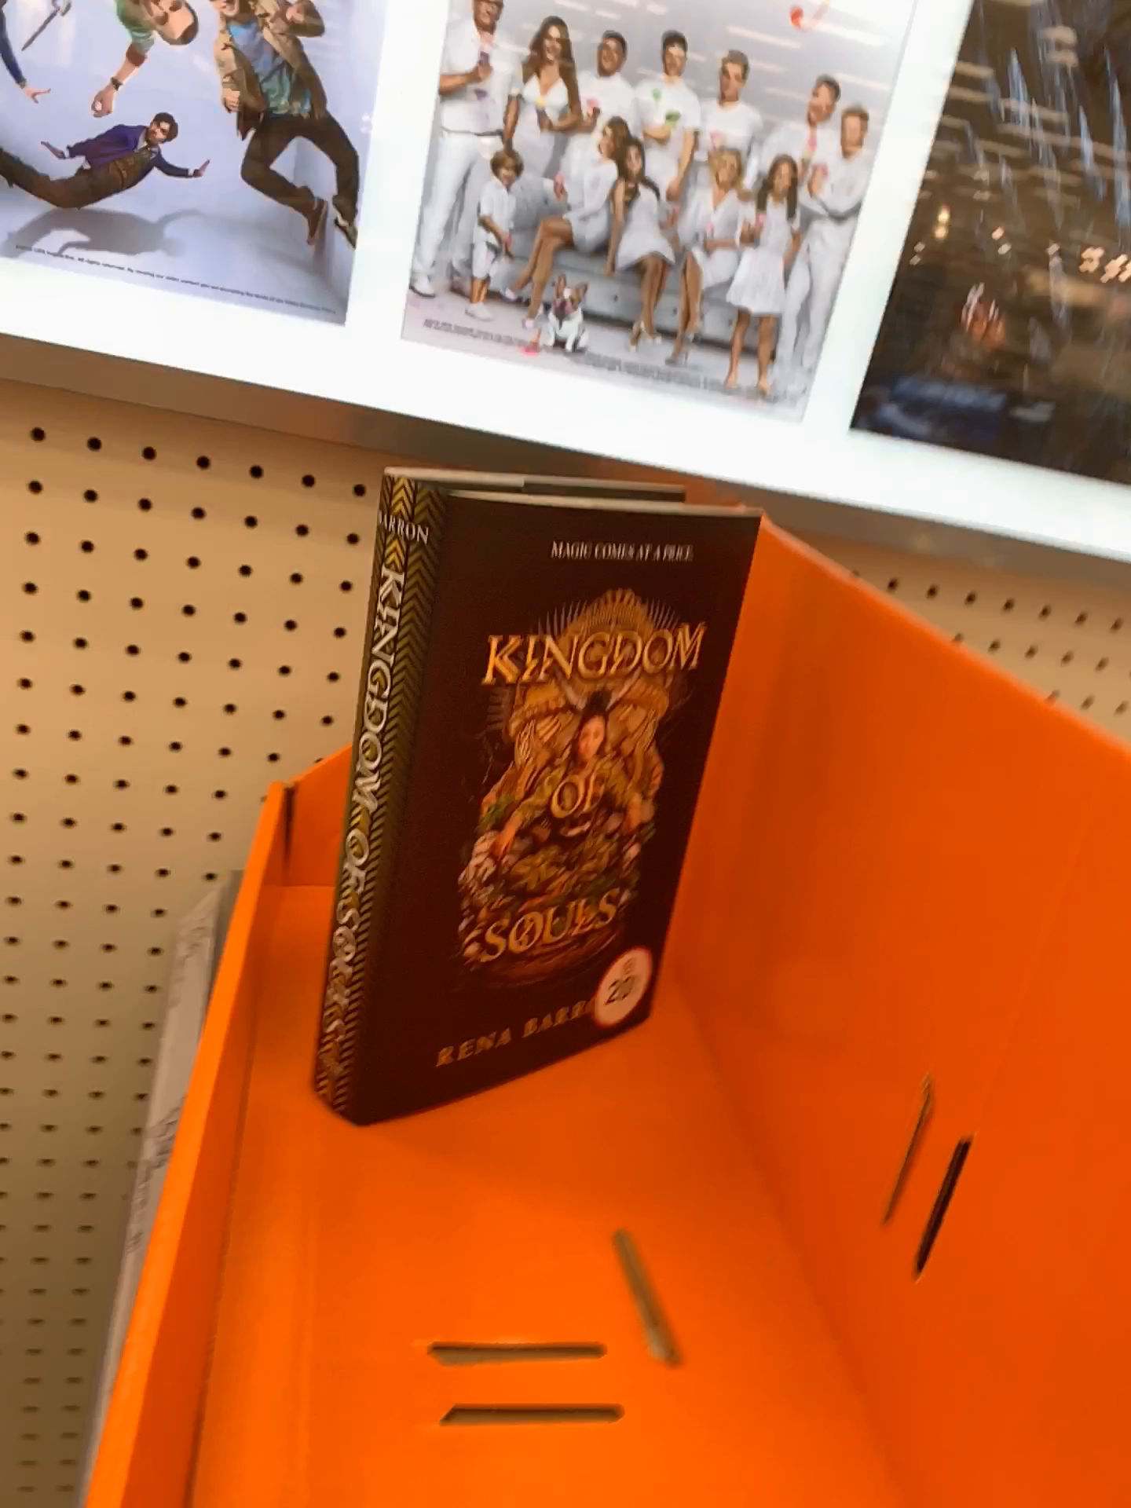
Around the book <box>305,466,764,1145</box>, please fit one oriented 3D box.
[{"bbox_3d":[-0.011,0.017,0.463,0.160,0.241,0.040,-7,24,-43],"label":"book"}]
